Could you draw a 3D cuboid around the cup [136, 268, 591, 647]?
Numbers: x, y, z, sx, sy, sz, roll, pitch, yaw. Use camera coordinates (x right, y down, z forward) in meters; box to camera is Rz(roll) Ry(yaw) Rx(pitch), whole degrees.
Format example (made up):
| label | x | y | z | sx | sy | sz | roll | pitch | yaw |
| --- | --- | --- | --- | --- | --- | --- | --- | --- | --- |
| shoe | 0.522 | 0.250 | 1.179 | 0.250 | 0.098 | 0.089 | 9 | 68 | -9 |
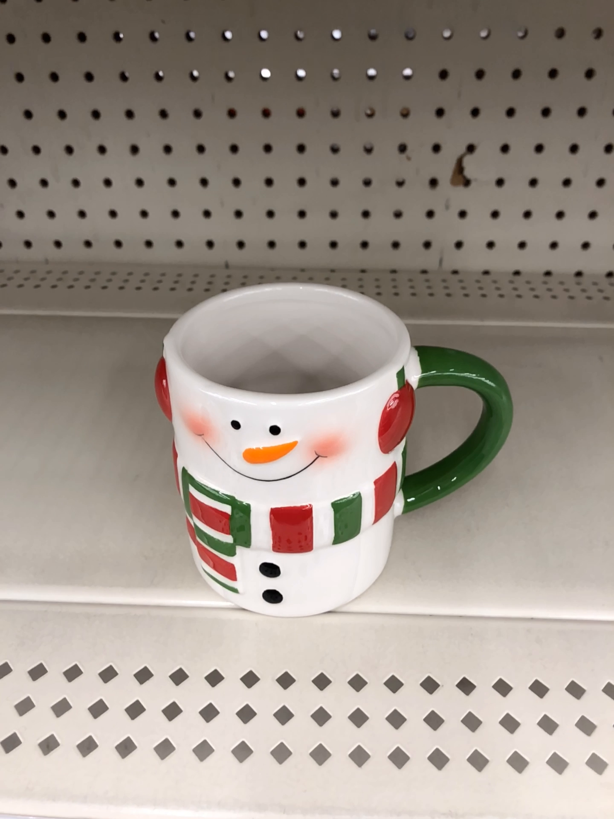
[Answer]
| label | x | y | z | sx | sy | sz | roll | pitch | yaw |
| --- | --- | --- | --- | --- | --- | --- | --- | --- | --- |
| cup | 0.015 | 0.017 | 0.265 | 0.130 | 0.110 | 0.090 | -1 | 36 | -1 |
